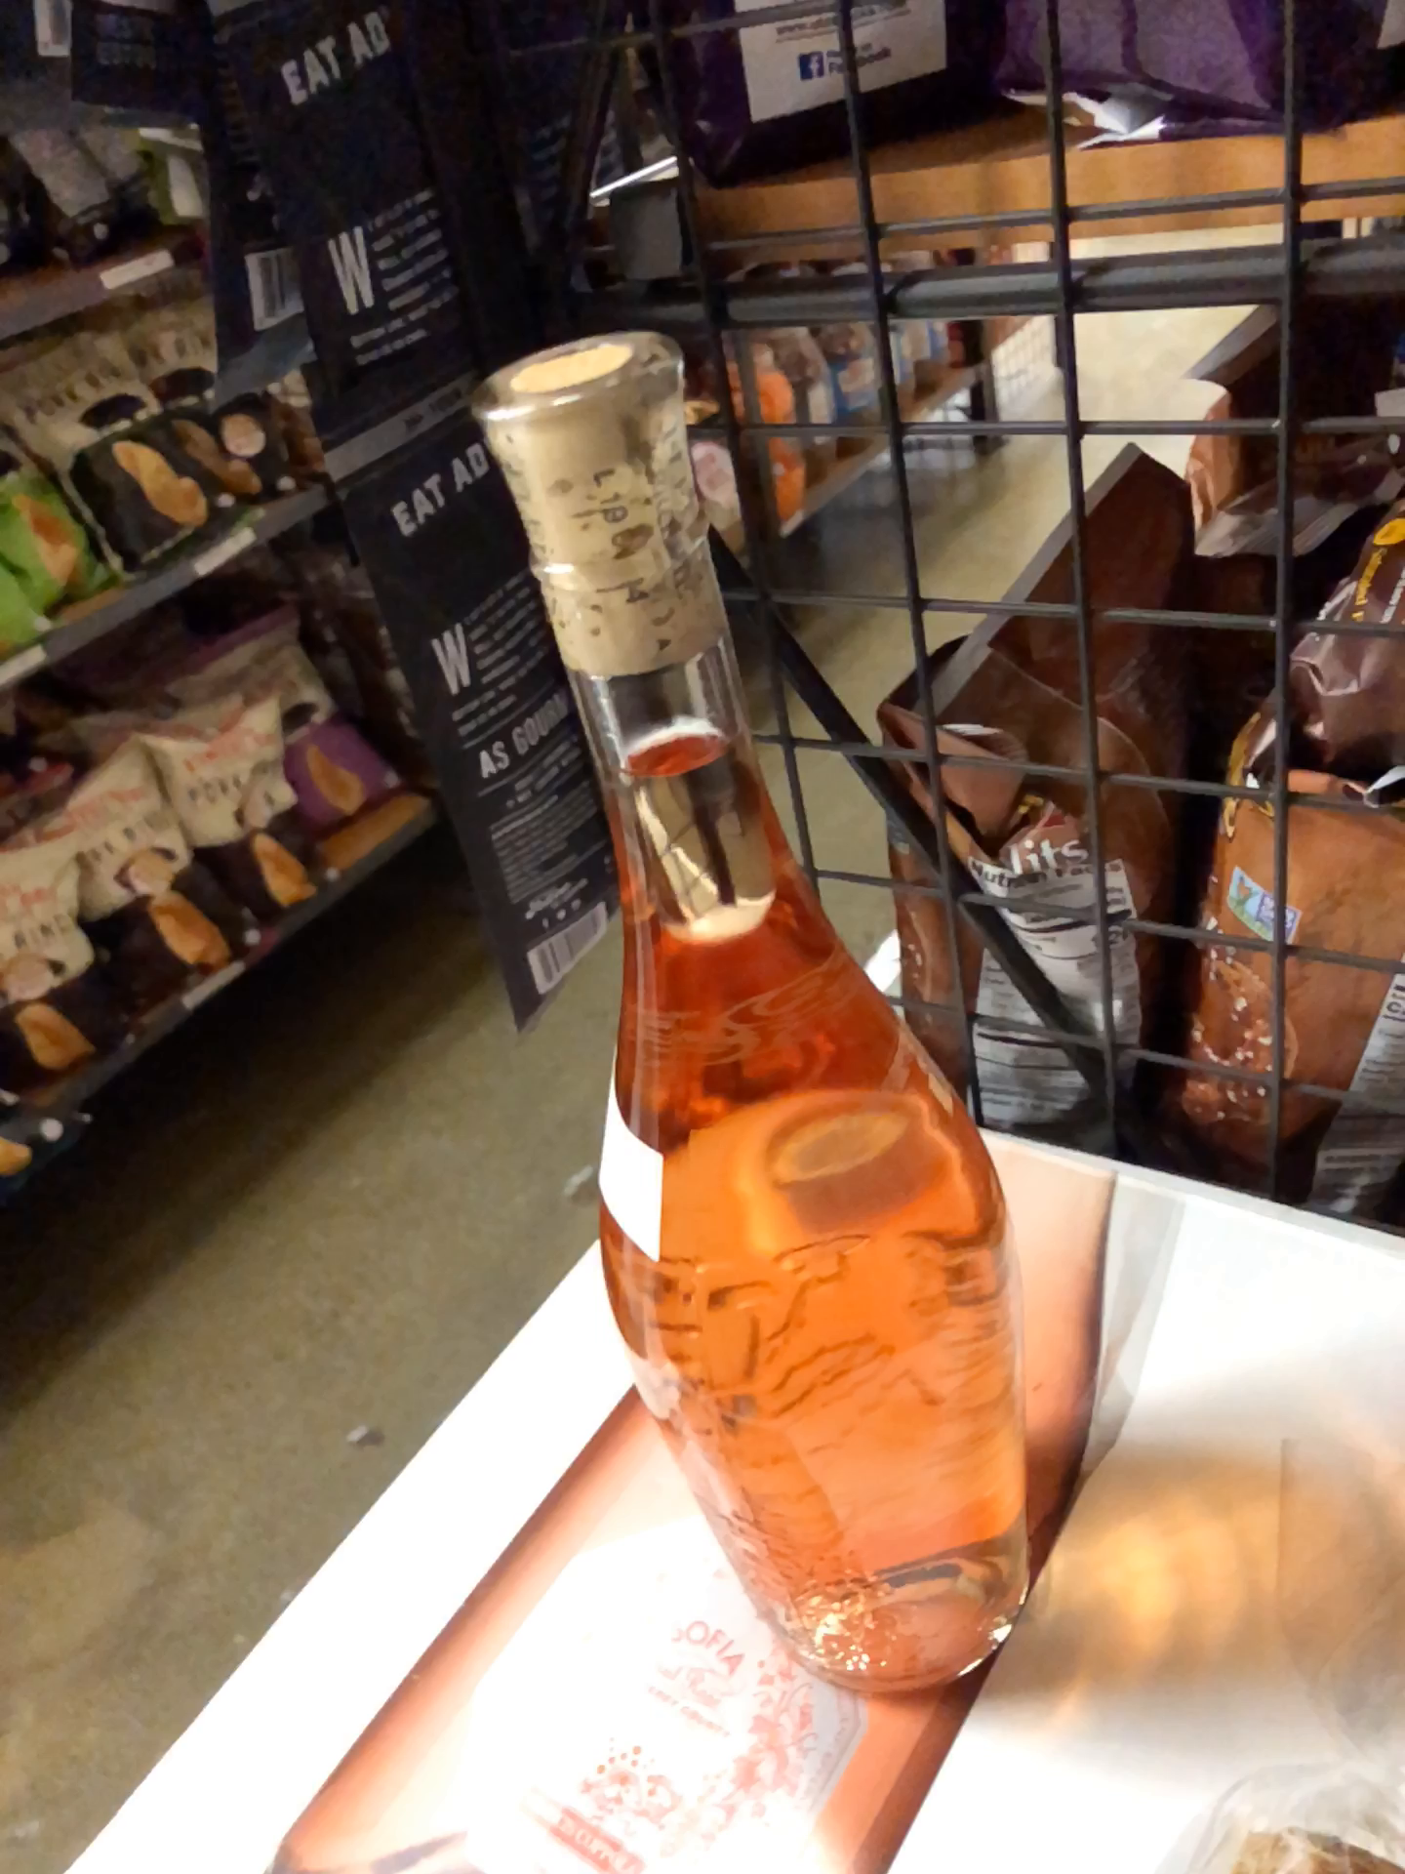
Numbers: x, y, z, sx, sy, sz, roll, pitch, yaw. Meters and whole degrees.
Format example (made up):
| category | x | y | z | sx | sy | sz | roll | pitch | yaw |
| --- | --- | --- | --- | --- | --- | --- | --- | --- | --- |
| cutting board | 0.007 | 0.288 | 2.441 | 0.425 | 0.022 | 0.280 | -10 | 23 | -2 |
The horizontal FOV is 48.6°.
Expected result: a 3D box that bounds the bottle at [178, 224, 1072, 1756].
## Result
| category | x | y | z | sx | sy | sz | roll | pitch | yaw |
| --- | --- | --- | --- | --- | --- | --- | --- | --- | --- |
| bottle | 0.011 | 0.032 | 0.310 | 0.090 | 0.299 | 0.080 | 6 | 38 | 26 |
